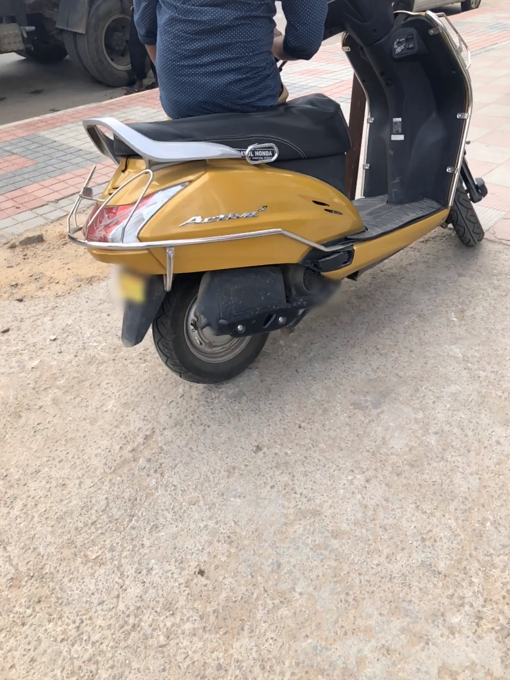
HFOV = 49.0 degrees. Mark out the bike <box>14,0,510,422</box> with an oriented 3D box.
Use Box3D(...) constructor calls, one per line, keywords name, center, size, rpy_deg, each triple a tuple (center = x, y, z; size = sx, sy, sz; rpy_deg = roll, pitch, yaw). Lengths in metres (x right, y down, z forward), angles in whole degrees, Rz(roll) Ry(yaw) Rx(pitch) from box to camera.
Box3D(name="bike", center=(0.182, -0.735, 1.857), size=(1.534, 1.153, 0.585), rpy_deg=(-33, 47, -31))
